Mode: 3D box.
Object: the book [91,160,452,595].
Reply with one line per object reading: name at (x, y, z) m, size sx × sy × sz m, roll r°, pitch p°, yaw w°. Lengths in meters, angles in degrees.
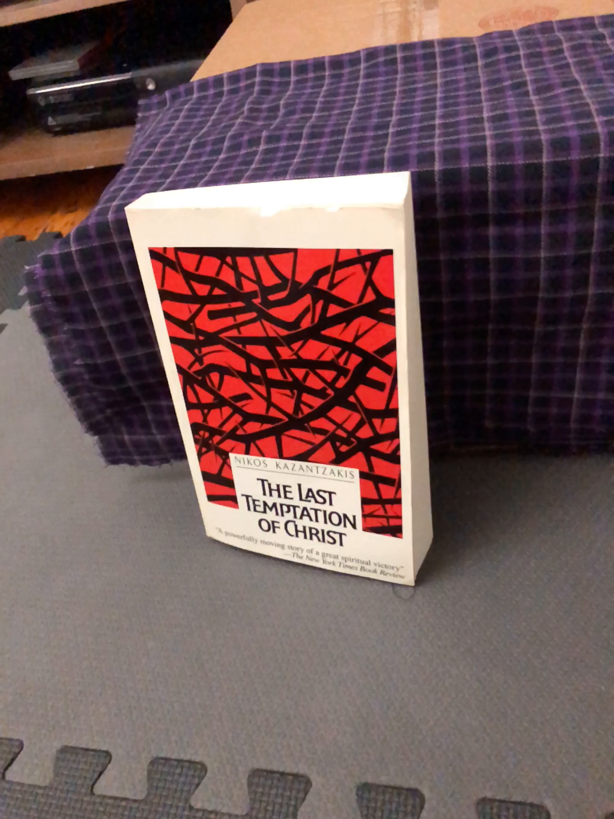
book at (-0.011, -0.013, 0.362) m, size 0.150 × 0.209 × 0.050 m, roll 8°, pitch 35°, yaw 30°
